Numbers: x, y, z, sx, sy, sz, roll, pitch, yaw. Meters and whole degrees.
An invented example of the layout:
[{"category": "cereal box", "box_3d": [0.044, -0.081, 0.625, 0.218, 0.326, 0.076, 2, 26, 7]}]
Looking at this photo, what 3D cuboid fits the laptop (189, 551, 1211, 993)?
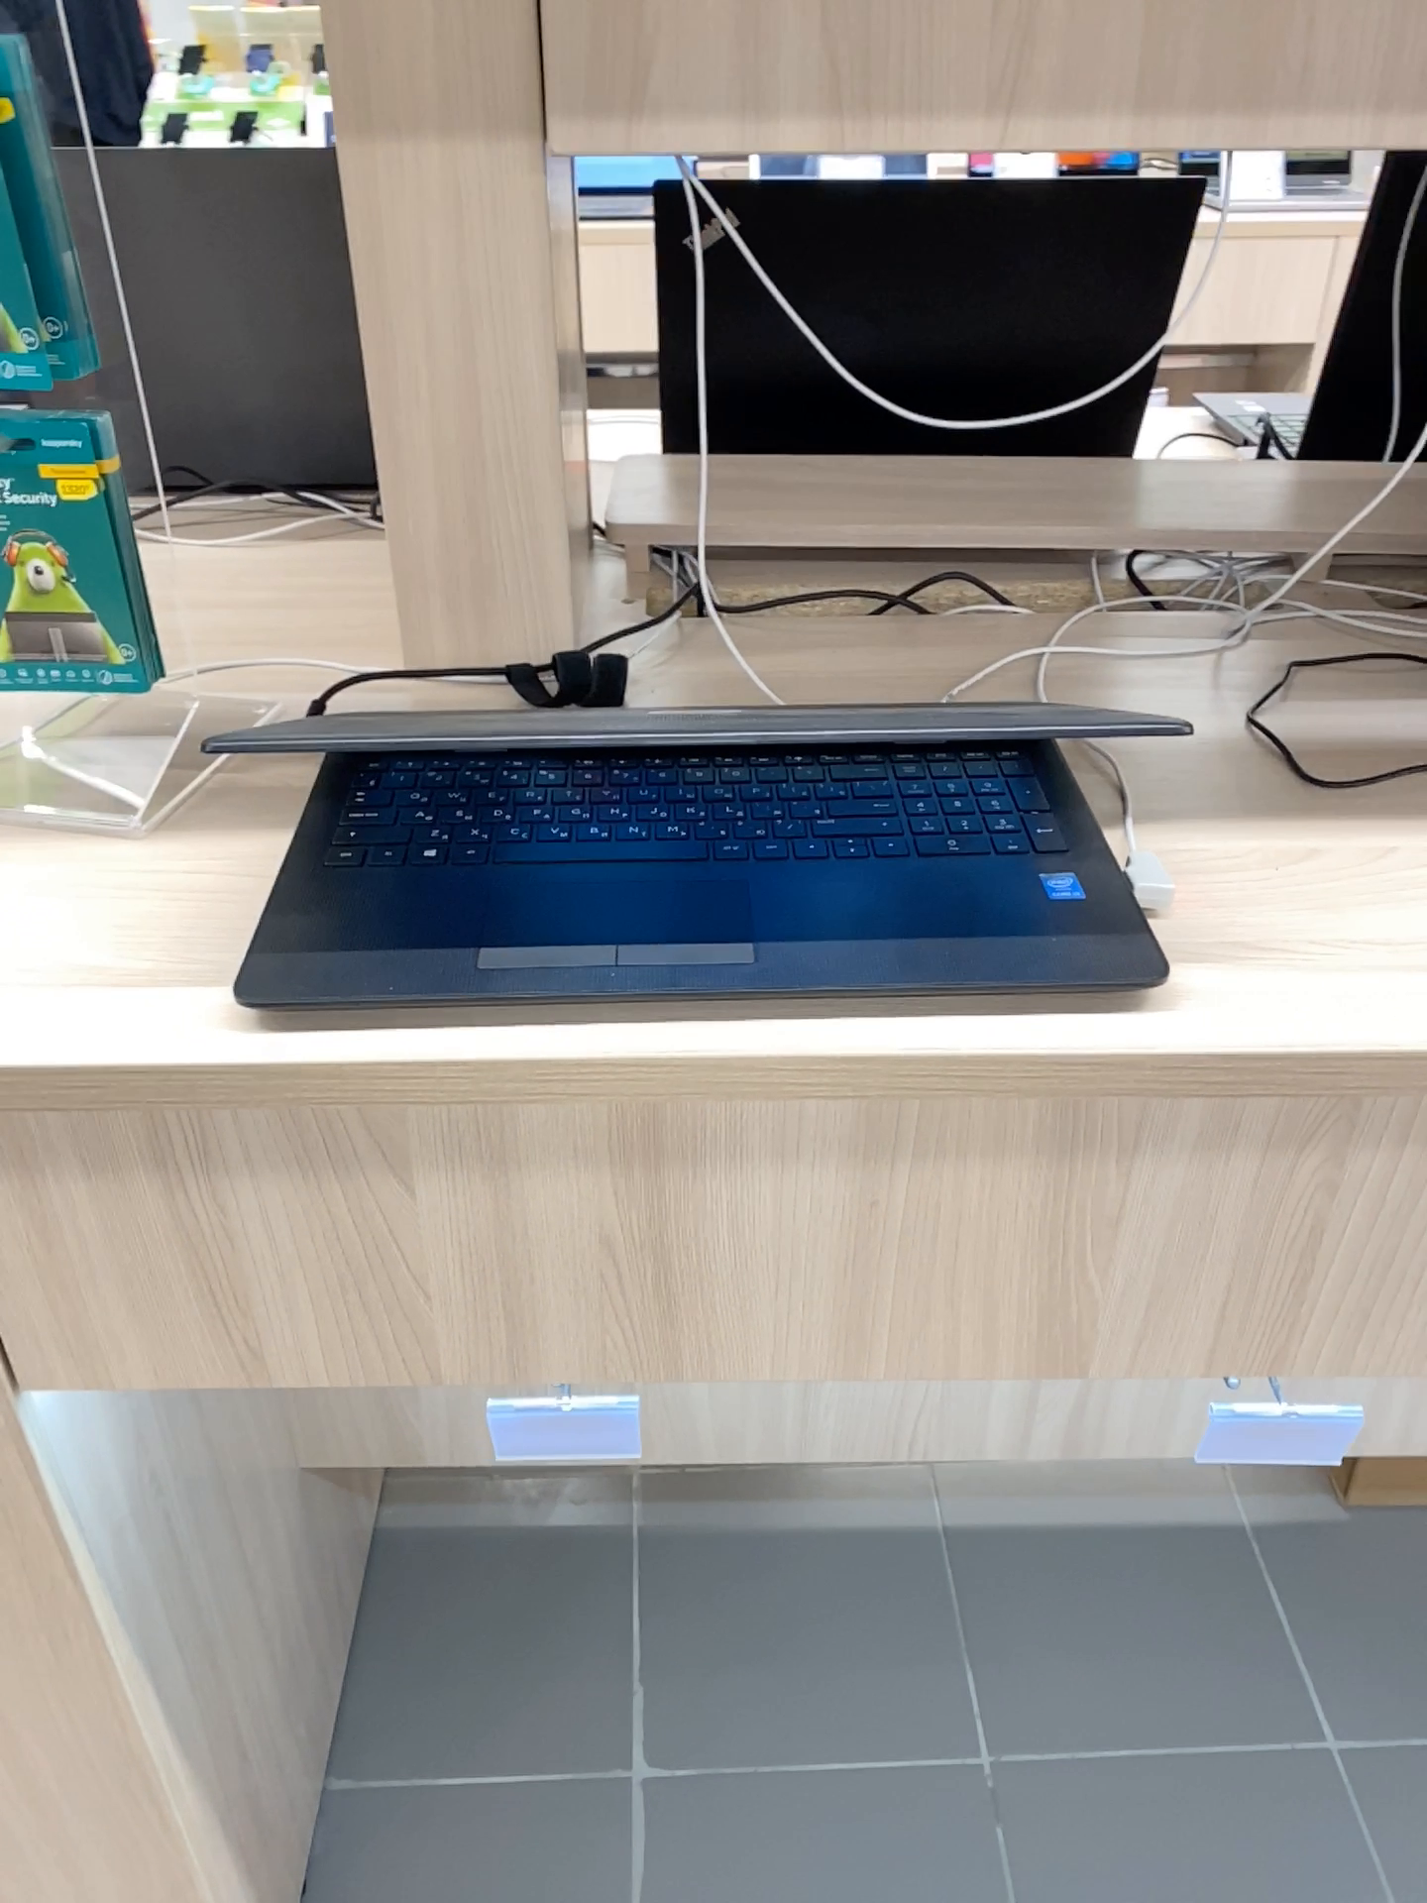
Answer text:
[{"category": "laptop", "box_3d": [-0.008, -0.095, 0.659, 0.372, 0.093, 0.252, -1, 33, -2]}]
